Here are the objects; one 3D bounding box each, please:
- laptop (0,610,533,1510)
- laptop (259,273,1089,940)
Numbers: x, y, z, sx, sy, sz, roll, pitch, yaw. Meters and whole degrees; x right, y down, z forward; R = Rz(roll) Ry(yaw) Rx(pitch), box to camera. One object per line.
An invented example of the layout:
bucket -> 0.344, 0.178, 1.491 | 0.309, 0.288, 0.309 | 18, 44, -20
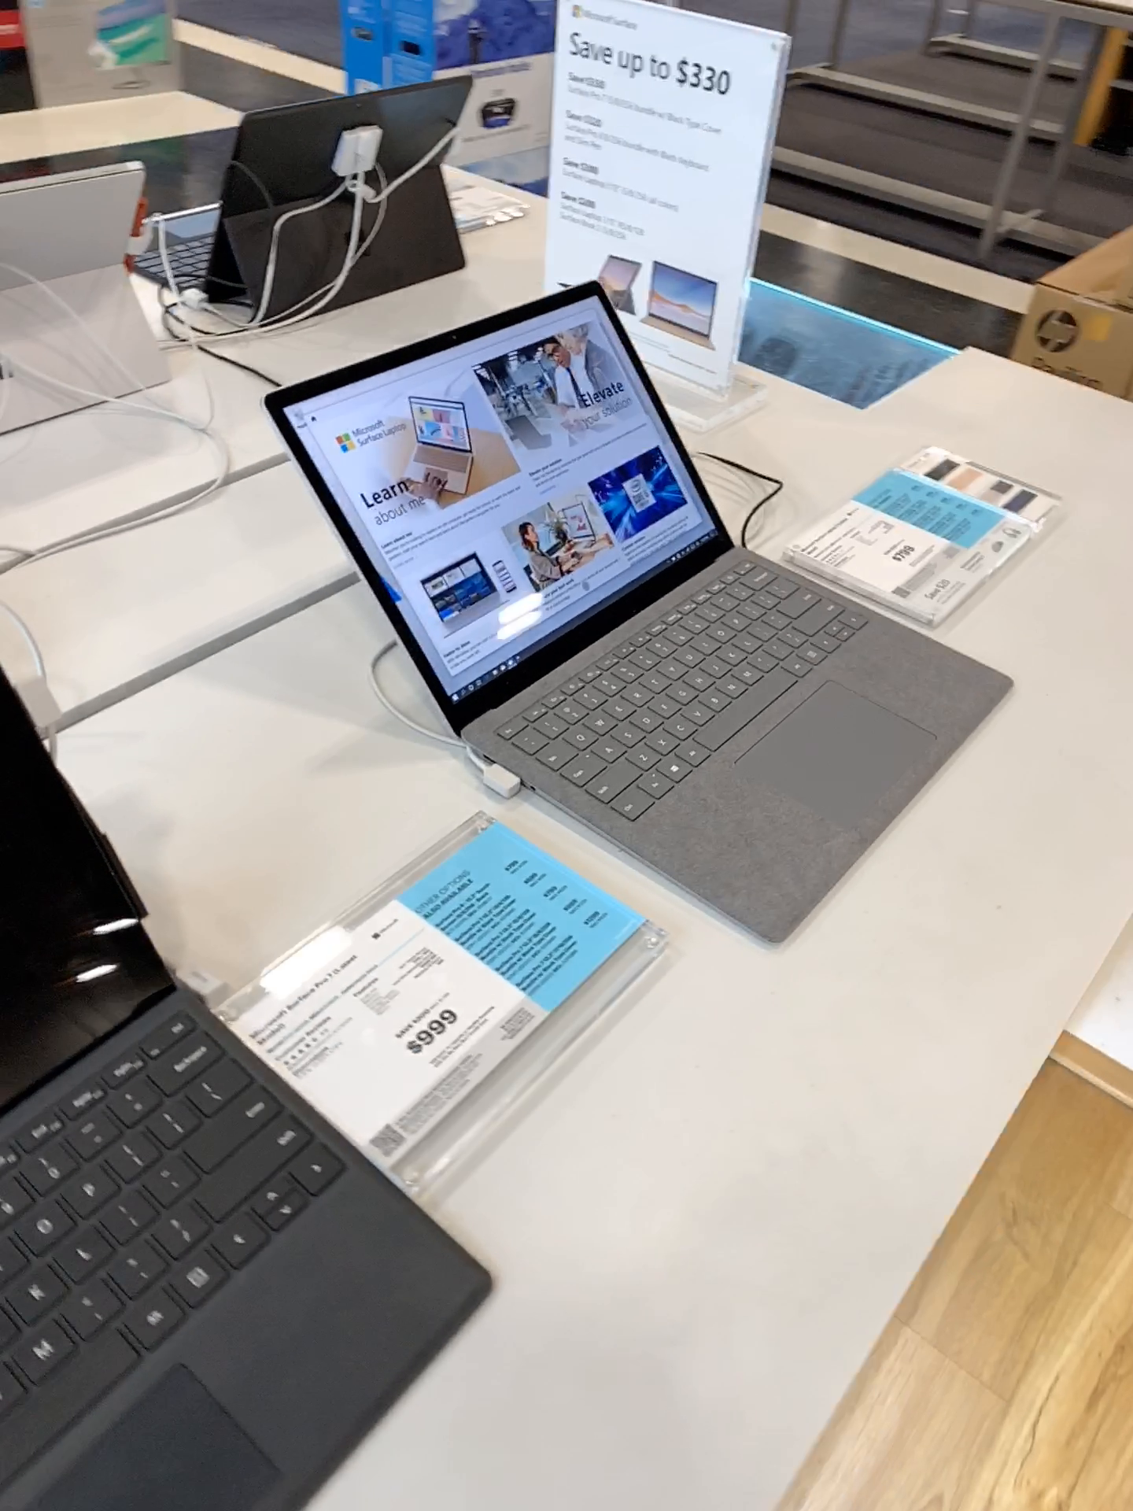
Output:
laptop -> -0.223, 0.138, 0.349 | 0.290, 0.157, 0.290 | 30, 46, 23
laptop -> 0.060, -0.126, 0.703 | 0.375, 0.148, 0.297 | 32, 47, 24
